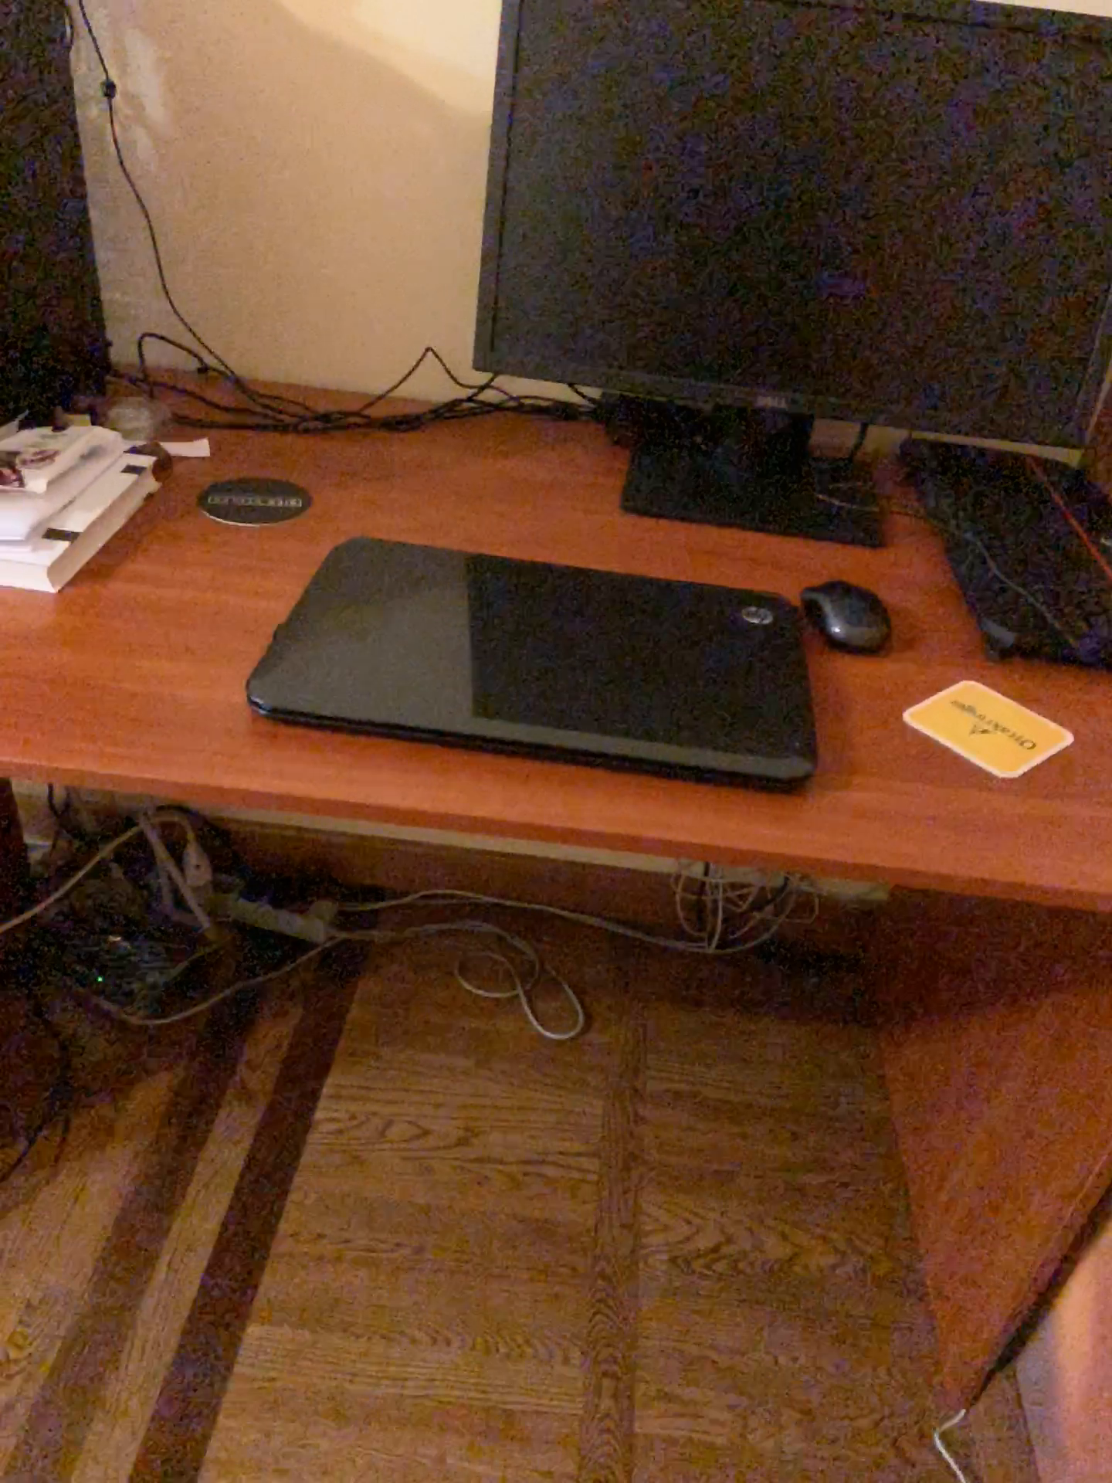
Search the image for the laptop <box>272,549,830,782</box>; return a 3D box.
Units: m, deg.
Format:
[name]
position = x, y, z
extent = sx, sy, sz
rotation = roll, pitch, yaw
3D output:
[laptop]
position = 0.006, -0.070, 0.860
extent = 0.381, 0.001, 0.244
rotation = 7, 36, 3
